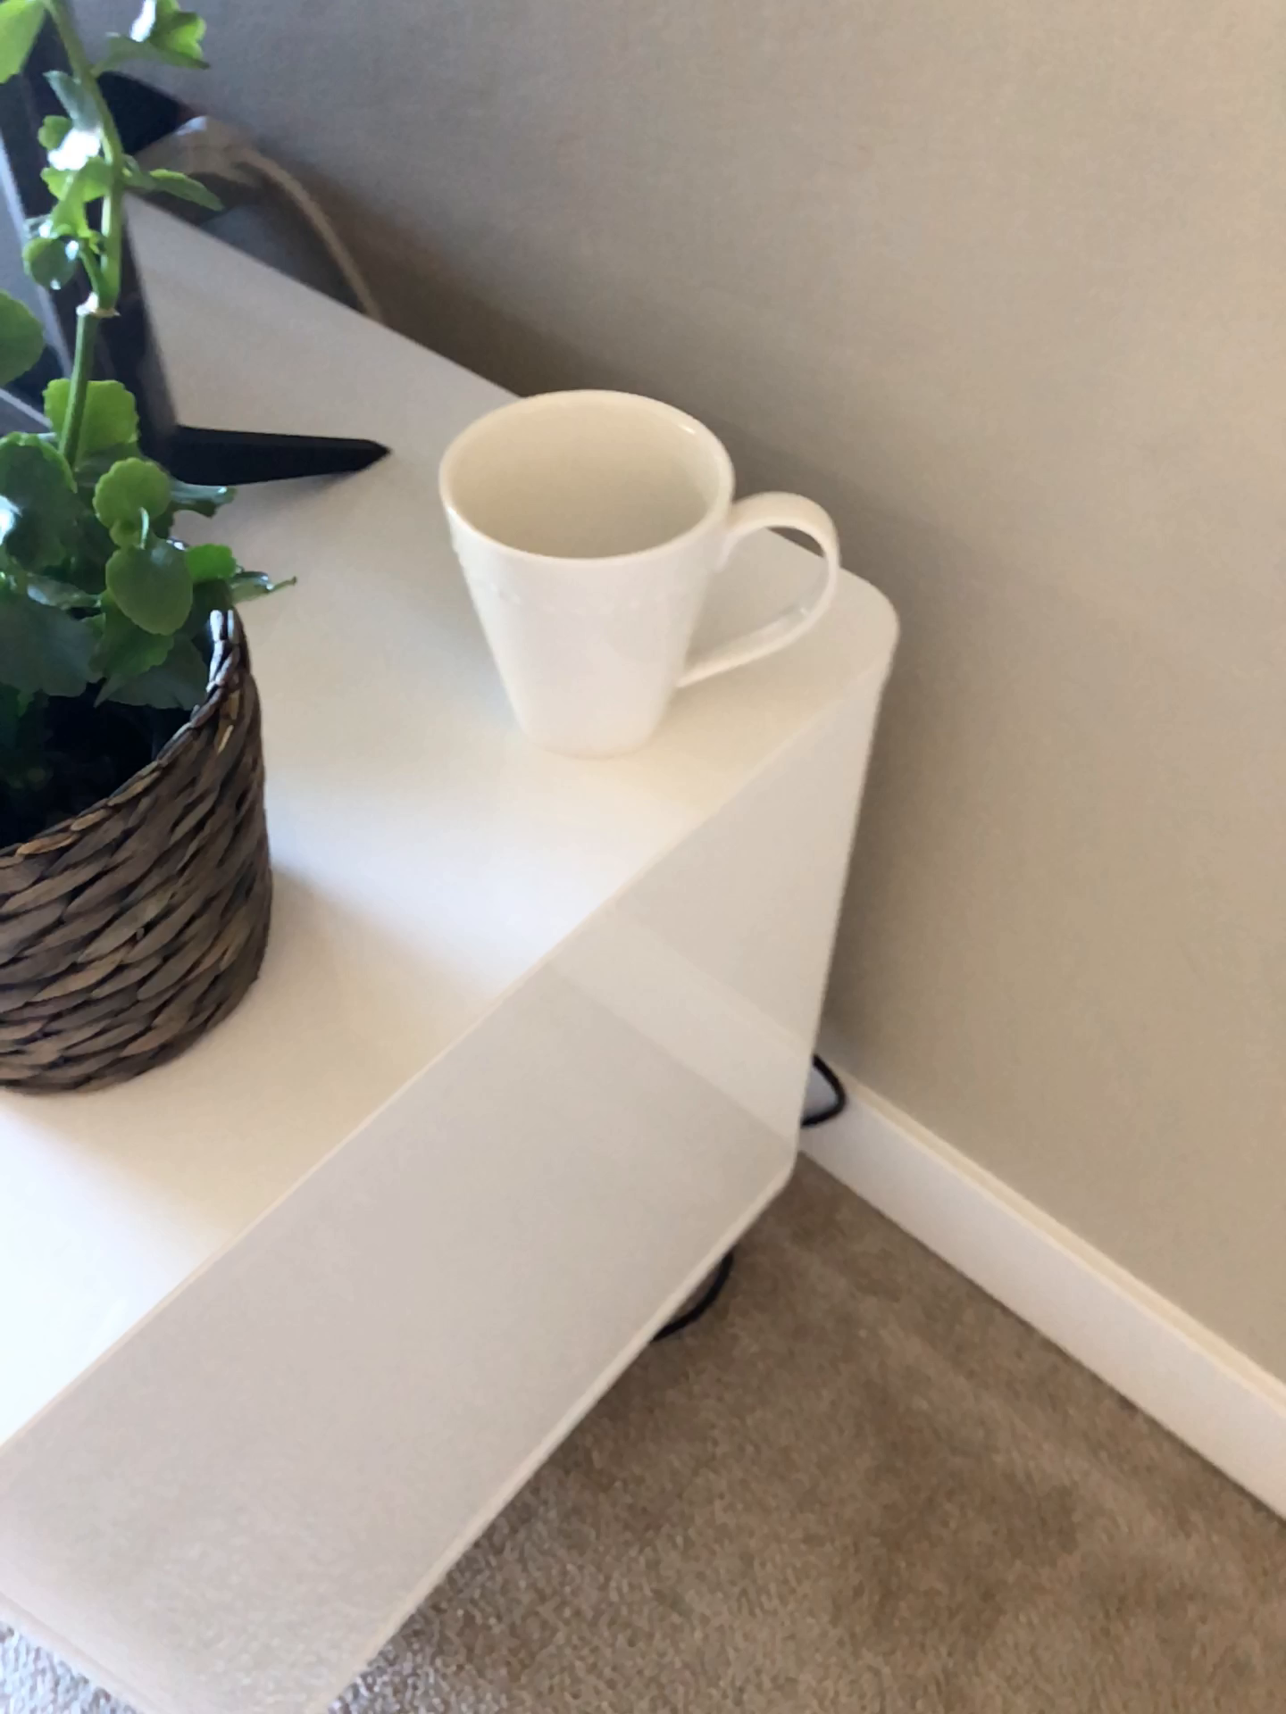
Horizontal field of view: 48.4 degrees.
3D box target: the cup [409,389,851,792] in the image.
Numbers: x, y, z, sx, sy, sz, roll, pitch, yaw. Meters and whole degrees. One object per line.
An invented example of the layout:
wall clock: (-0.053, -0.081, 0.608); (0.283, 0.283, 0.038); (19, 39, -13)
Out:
cup: (-0.002, -0.090, 0.483); (0.130, 0.090, 0.090); (4, 50, 2)
